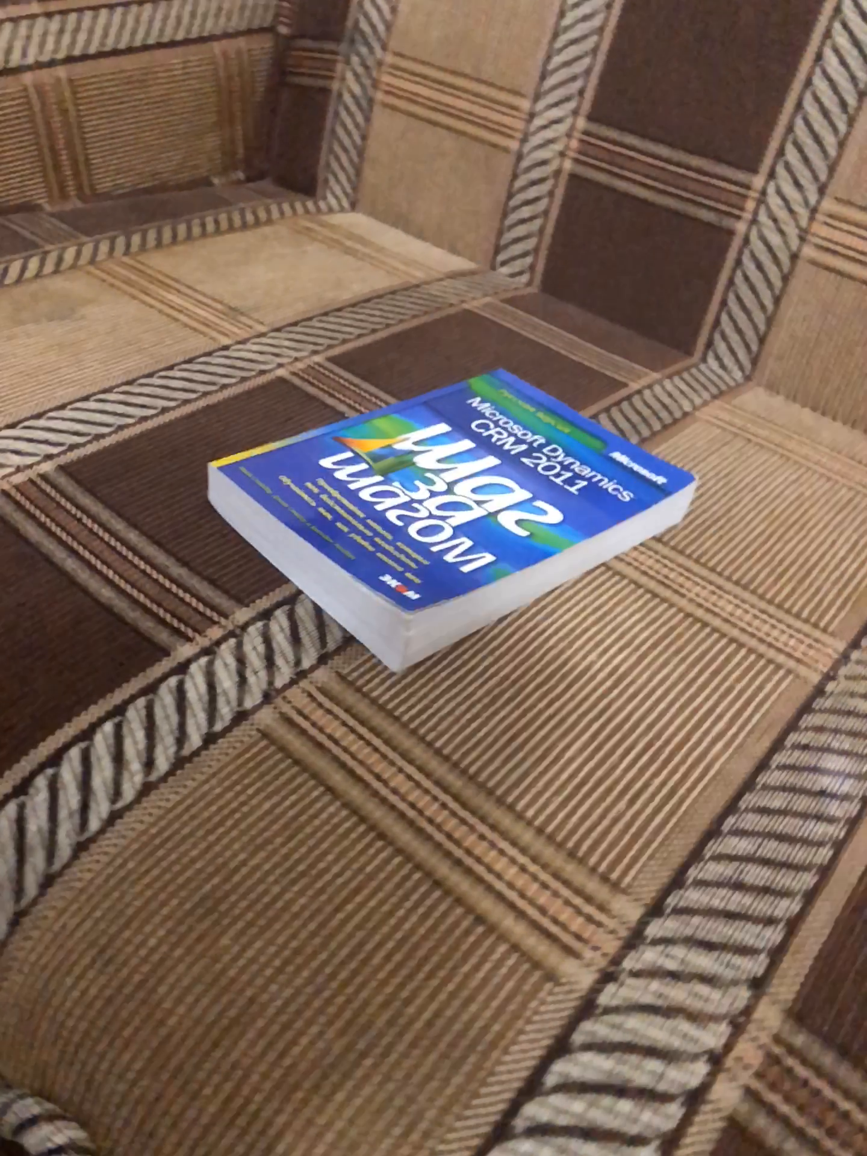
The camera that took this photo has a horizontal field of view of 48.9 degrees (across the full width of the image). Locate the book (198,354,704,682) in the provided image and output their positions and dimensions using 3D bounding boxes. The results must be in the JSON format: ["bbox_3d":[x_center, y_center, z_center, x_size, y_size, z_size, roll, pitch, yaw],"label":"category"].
[{"bbox_3d":[0.012,-0.045,0.475,0.201,0.030,0.151,-26,50,-35],"label":"book"}]
